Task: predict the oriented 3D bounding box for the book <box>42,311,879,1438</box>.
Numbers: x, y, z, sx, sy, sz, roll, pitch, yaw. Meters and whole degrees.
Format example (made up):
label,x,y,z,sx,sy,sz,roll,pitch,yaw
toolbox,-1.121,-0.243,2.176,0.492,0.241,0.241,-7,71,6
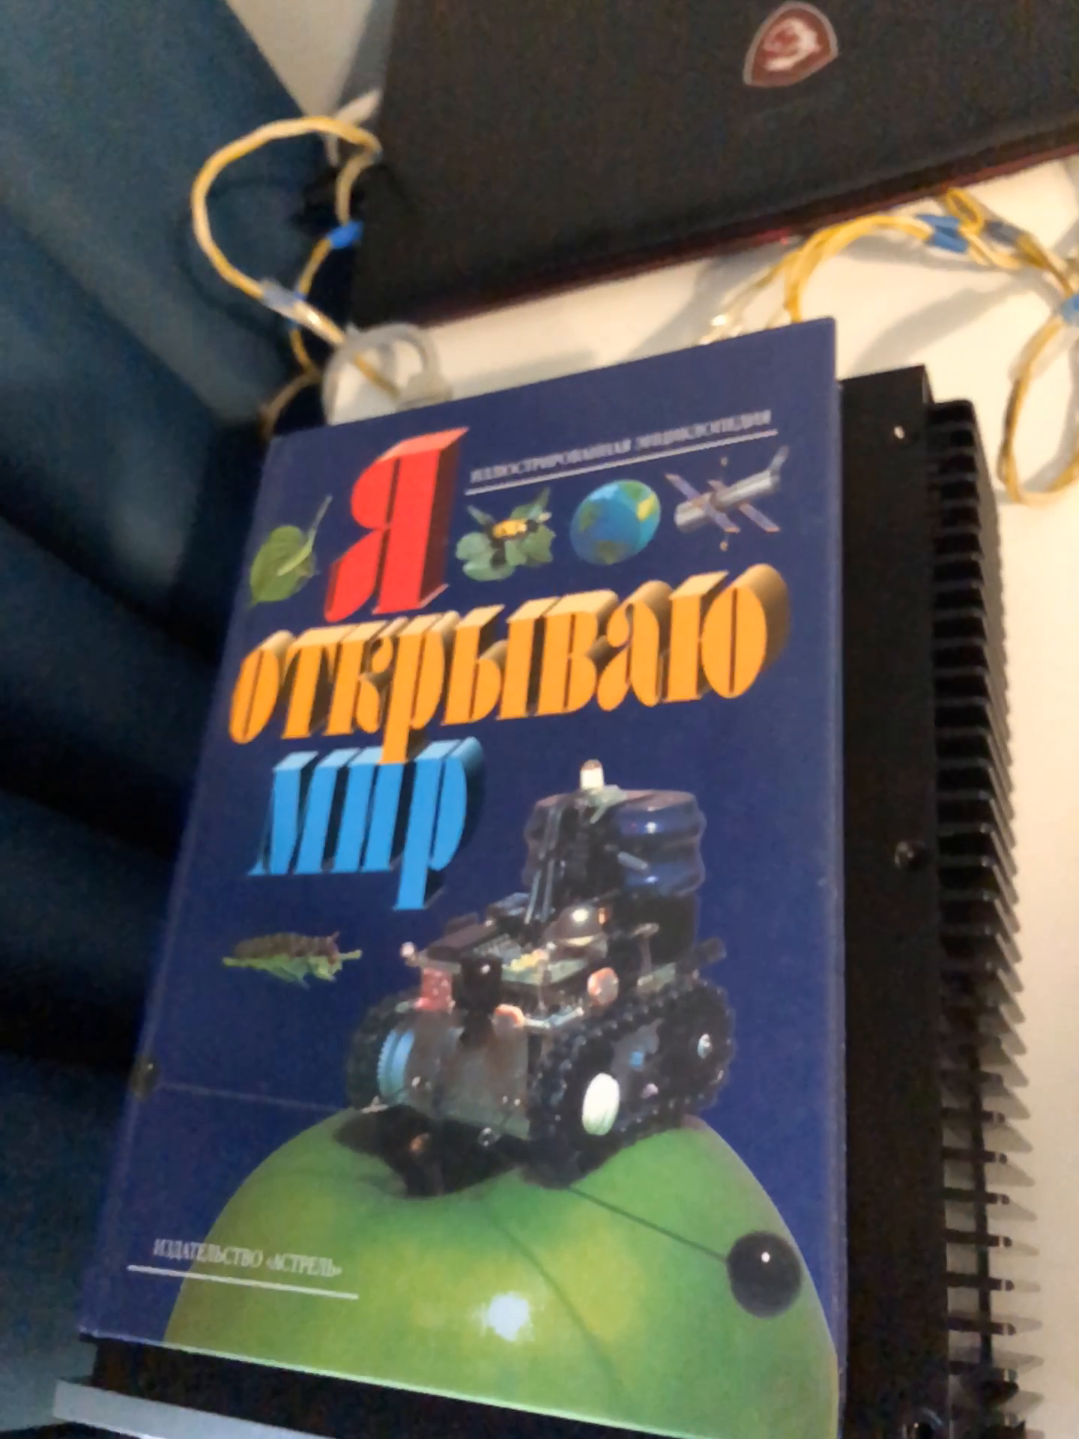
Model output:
label,x,y,z,sx,sy,sz,roll,pitch,yaw
book,-0.012,0.025,0.306,0.186,0.030,0.256,-5,64,25
